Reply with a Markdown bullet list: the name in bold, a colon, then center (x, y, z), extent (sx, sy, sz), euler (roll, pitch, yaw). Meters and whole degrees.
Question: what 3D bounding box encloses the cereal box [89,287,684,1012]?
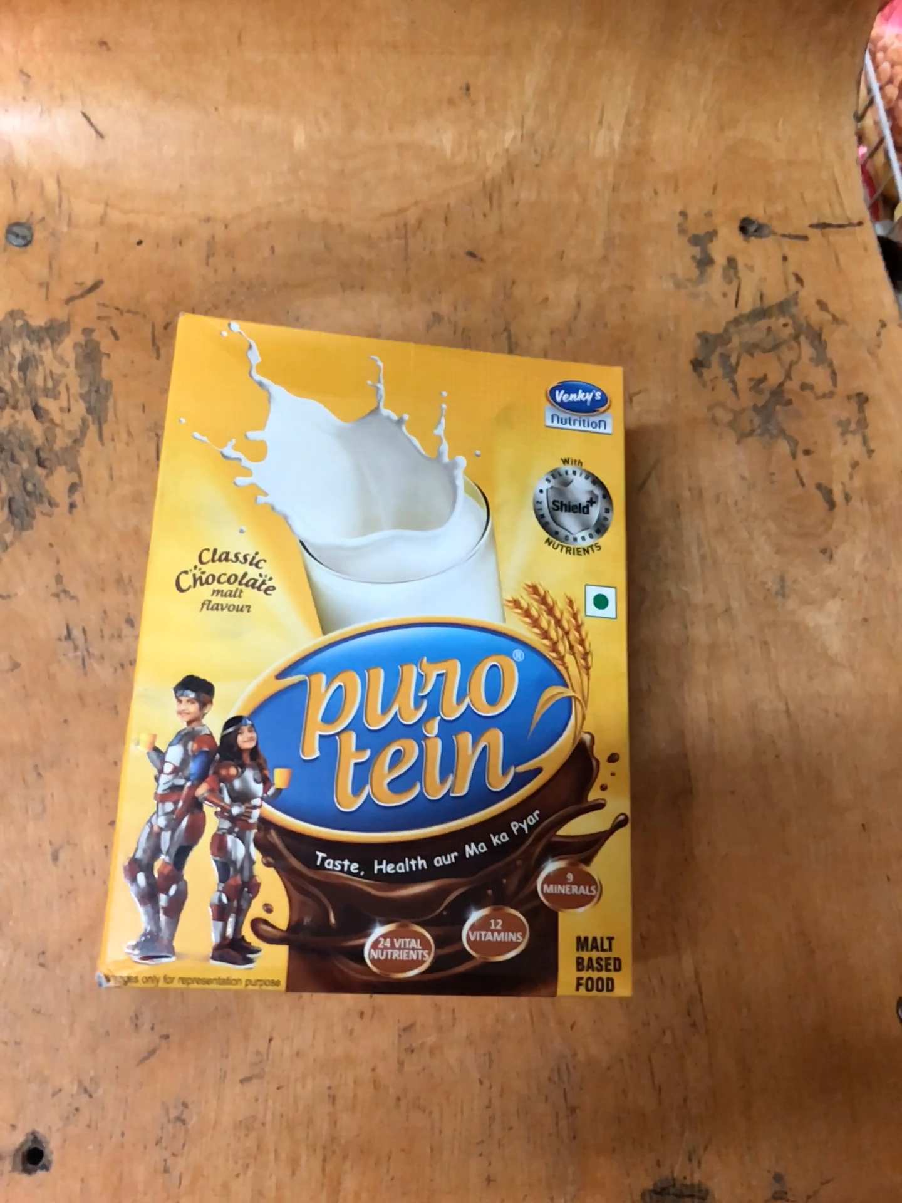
- **cereal box**: center (-0.014, 0.018, 0.298), extent (0.140, 0.080, 0.180), euler (5, 74, -9)
